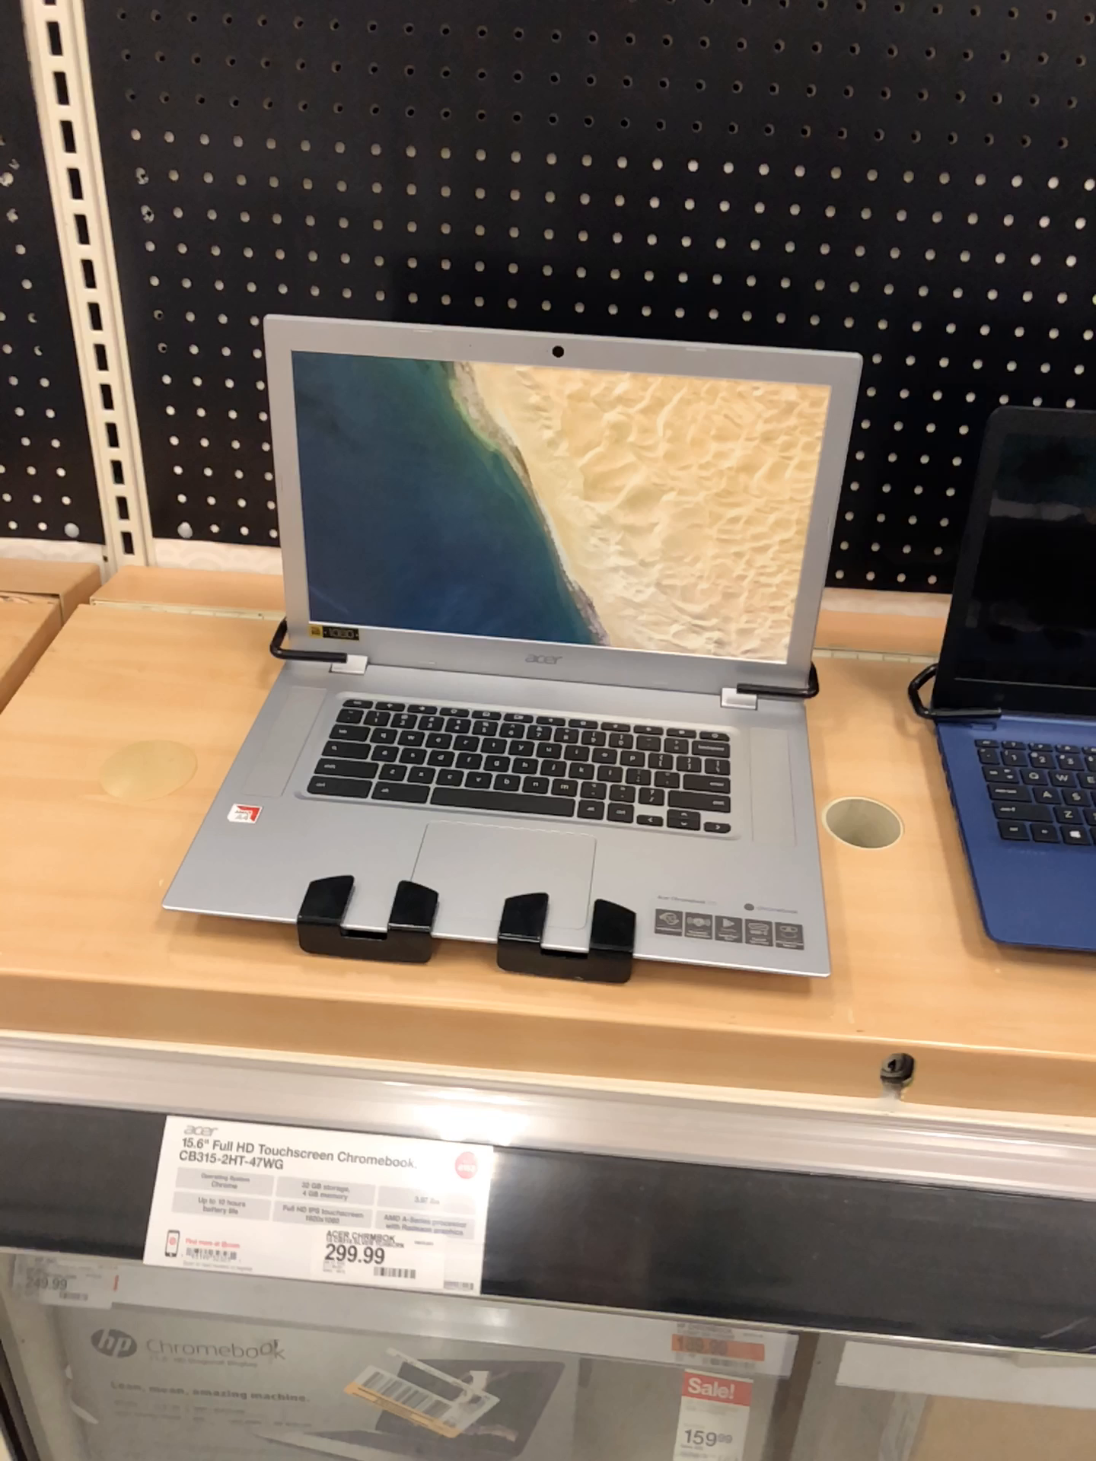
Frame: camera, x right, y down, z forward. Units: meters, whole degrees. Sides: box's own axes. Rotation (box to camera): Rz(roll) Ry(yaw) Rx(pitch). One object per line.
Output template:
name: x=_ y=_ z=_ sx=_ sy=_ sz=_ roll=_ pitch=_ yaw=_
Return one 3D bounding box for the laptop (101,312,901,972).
laptop: x=-0.016 y=-0.073 z=0.729 sx=0.371 sy=0.246 sz=0.287 roll=5 pitch=33 yaw=4
